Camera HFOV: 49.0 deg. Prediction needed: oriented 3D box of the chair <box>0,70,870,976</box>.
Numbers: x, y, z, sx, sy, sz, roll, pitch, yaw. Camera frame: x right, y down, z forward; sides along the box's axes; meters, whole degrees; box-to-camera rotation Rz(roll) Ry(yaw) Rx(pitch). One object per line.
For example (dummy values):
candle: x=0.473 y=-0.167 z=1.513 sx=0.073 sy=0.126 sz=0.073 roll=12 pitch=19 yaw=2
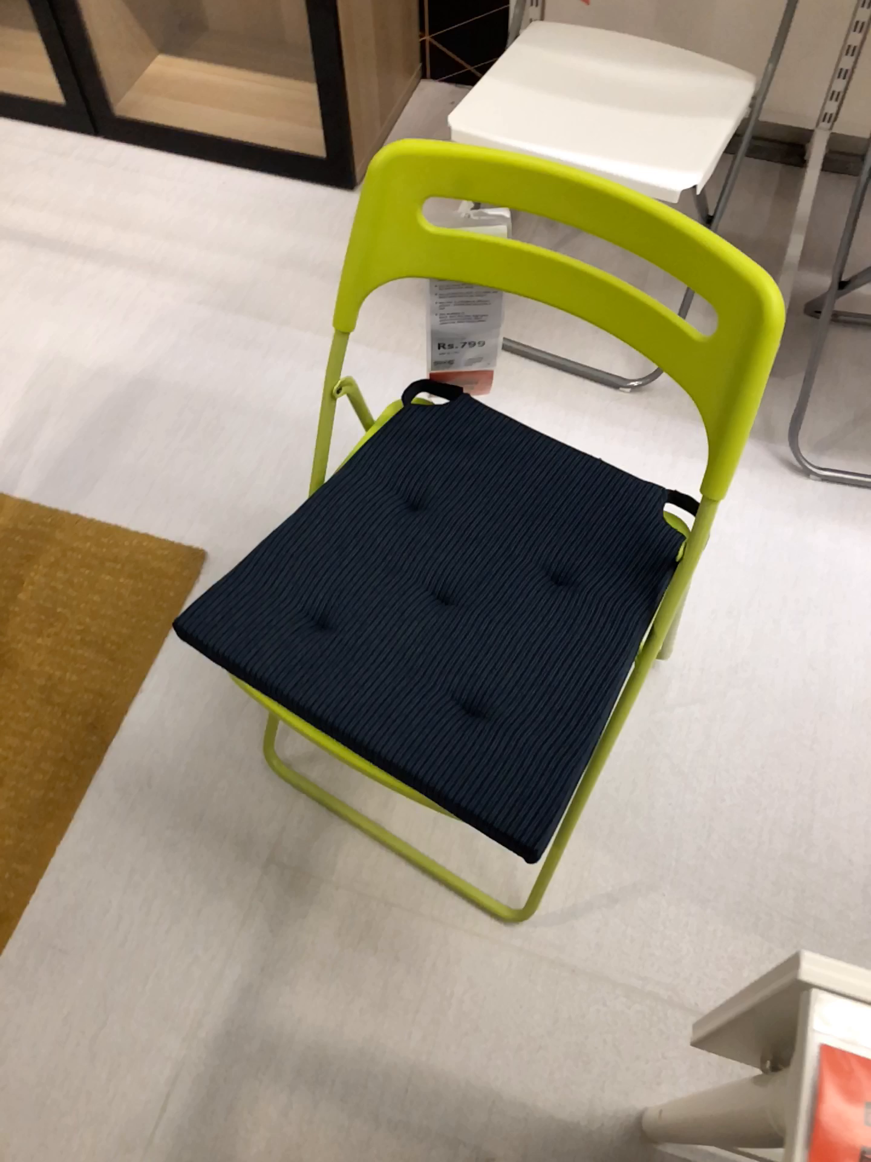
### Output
chair: x=0.032 y=-0.007 z=0.944 sx=0.491 sy=0.637 sz=0.461 roll=28 pitch=64 yaw=17
